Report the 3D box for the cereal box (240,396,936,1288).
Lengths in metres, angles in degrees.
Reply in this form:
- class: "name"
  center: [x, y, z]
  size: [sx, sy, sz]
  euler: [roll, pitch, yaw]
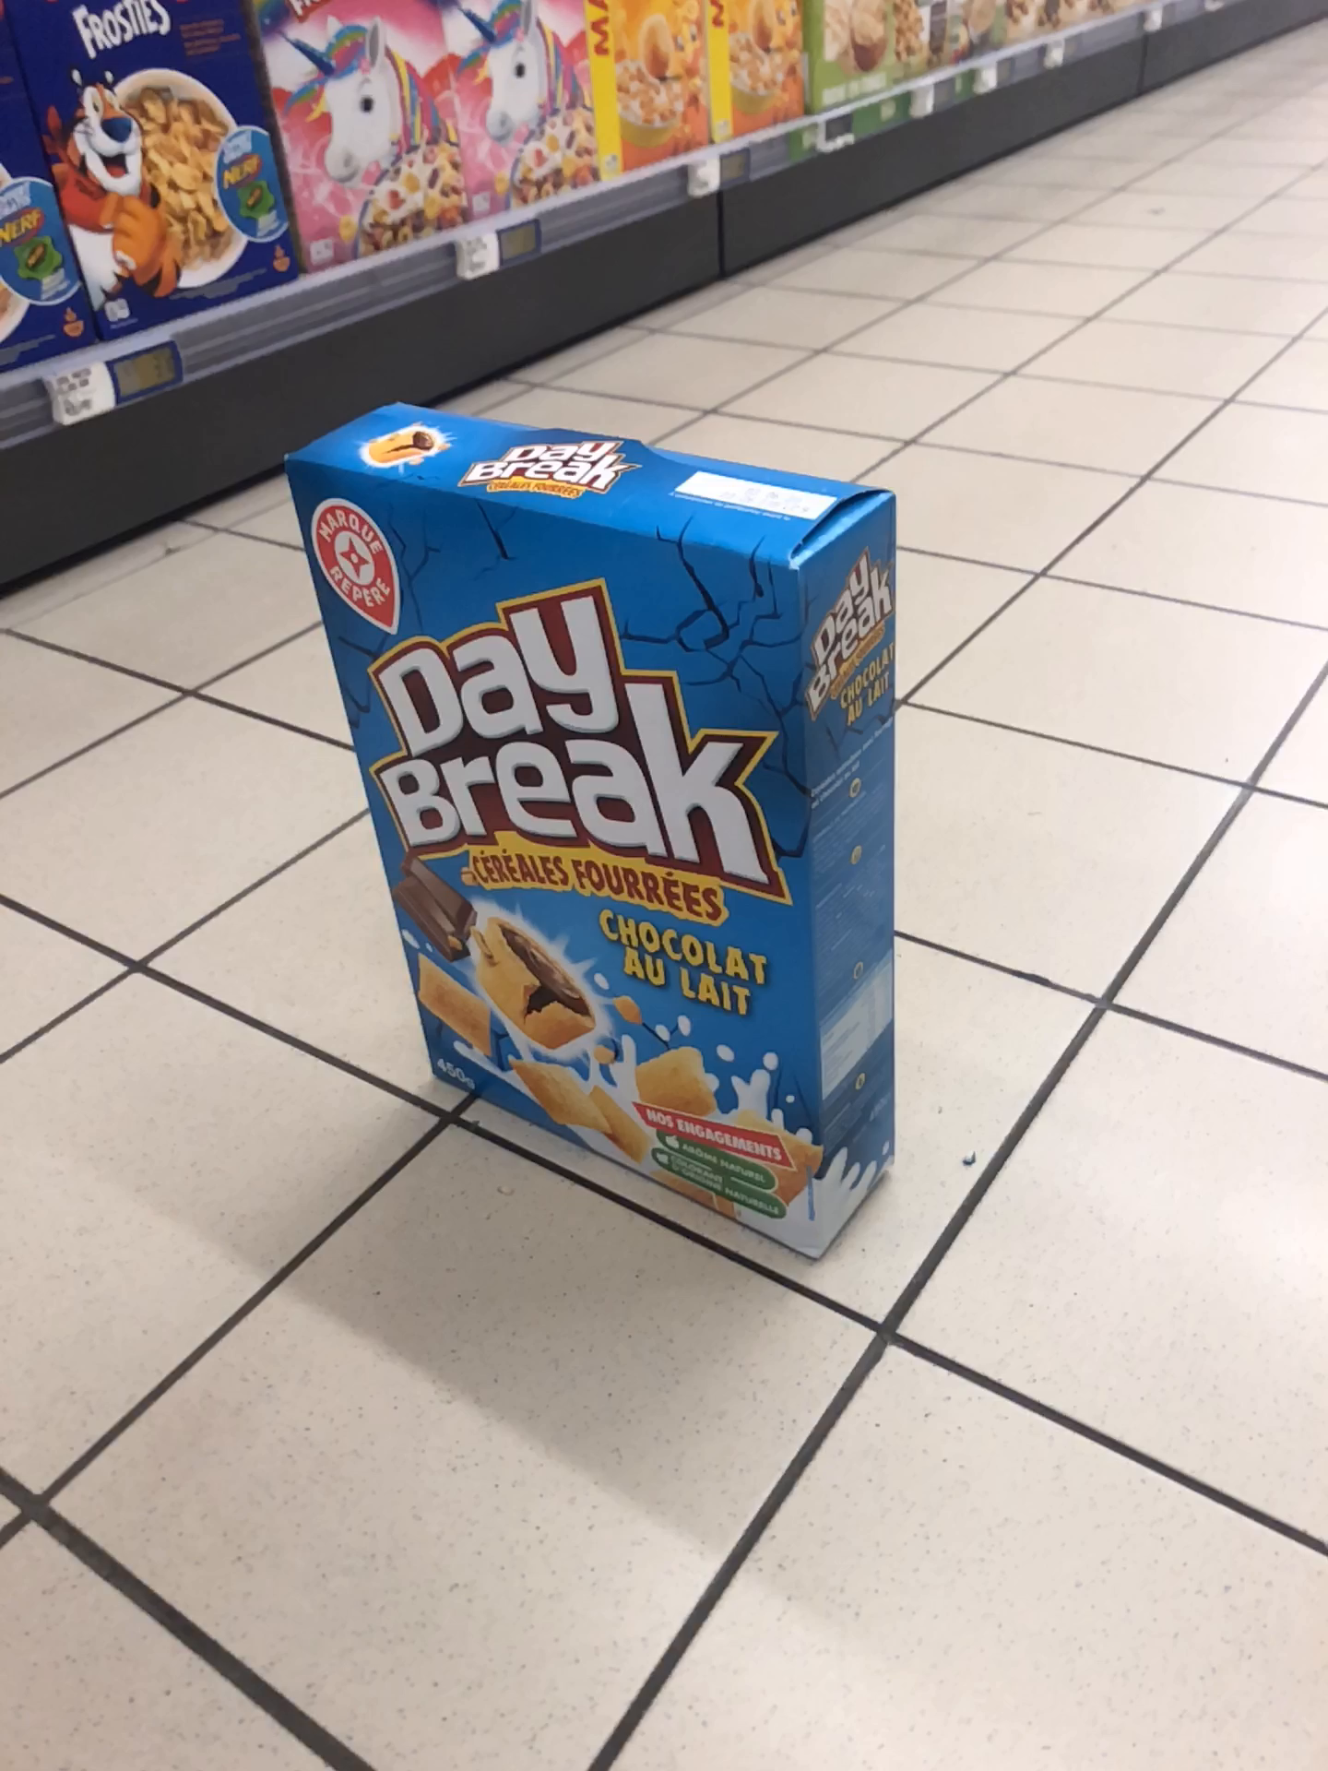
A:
- class: "cereal box"
  center: [-0.019, -0.014, 0.496]
  size: [0.200, 0.258, 0.070]
  euler: [19, 42, 30]
